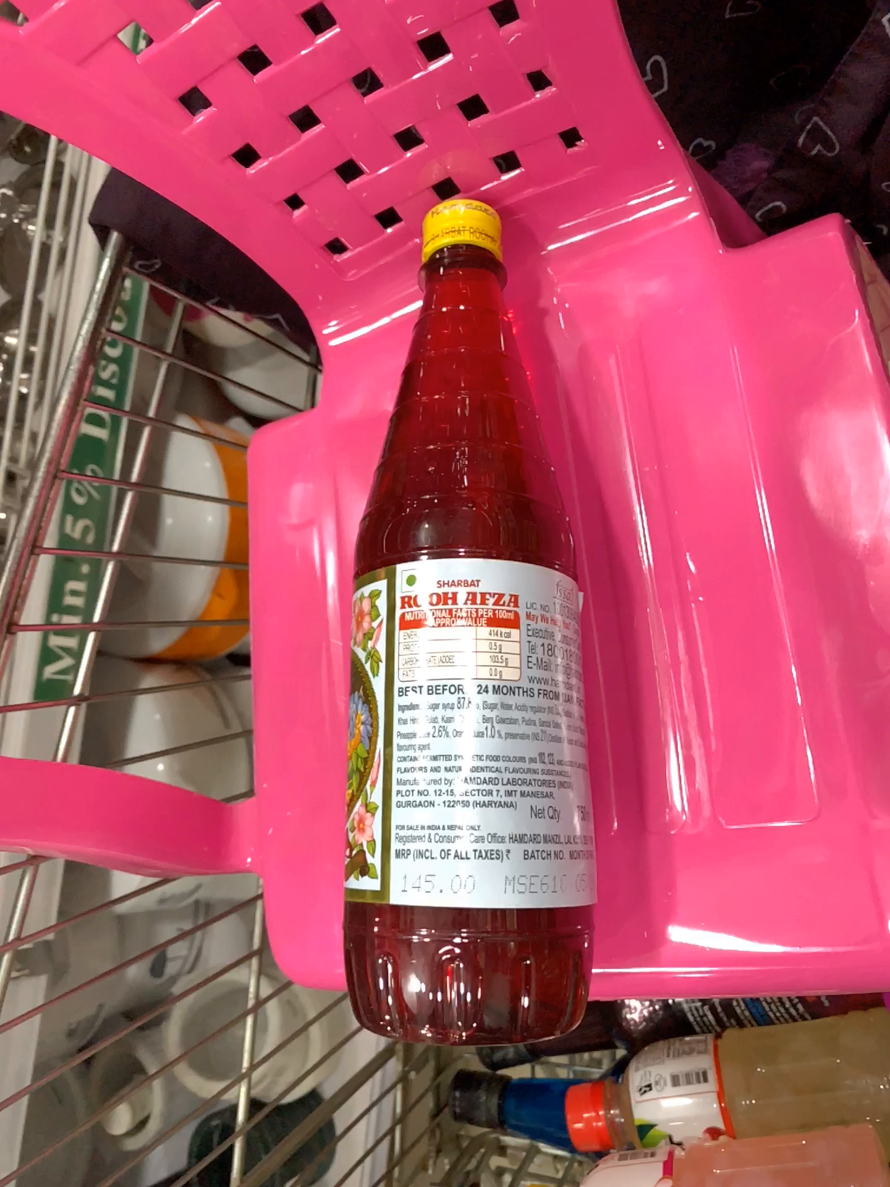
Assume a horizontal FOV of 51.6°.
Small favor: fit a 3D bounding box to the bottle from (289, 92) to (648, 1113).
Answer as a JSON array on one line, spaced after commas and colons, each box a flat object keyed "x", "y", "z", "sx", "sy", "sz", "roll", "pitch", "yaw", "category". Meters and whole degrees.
[{"x": 0.006, "y": -0.002, "z": 0.269, "sx": 0.080, "sy": 0.060, "sz": 0.260, "roll": -5, "pitch": 80, "yaw": 13, "category": "bottle"}]
